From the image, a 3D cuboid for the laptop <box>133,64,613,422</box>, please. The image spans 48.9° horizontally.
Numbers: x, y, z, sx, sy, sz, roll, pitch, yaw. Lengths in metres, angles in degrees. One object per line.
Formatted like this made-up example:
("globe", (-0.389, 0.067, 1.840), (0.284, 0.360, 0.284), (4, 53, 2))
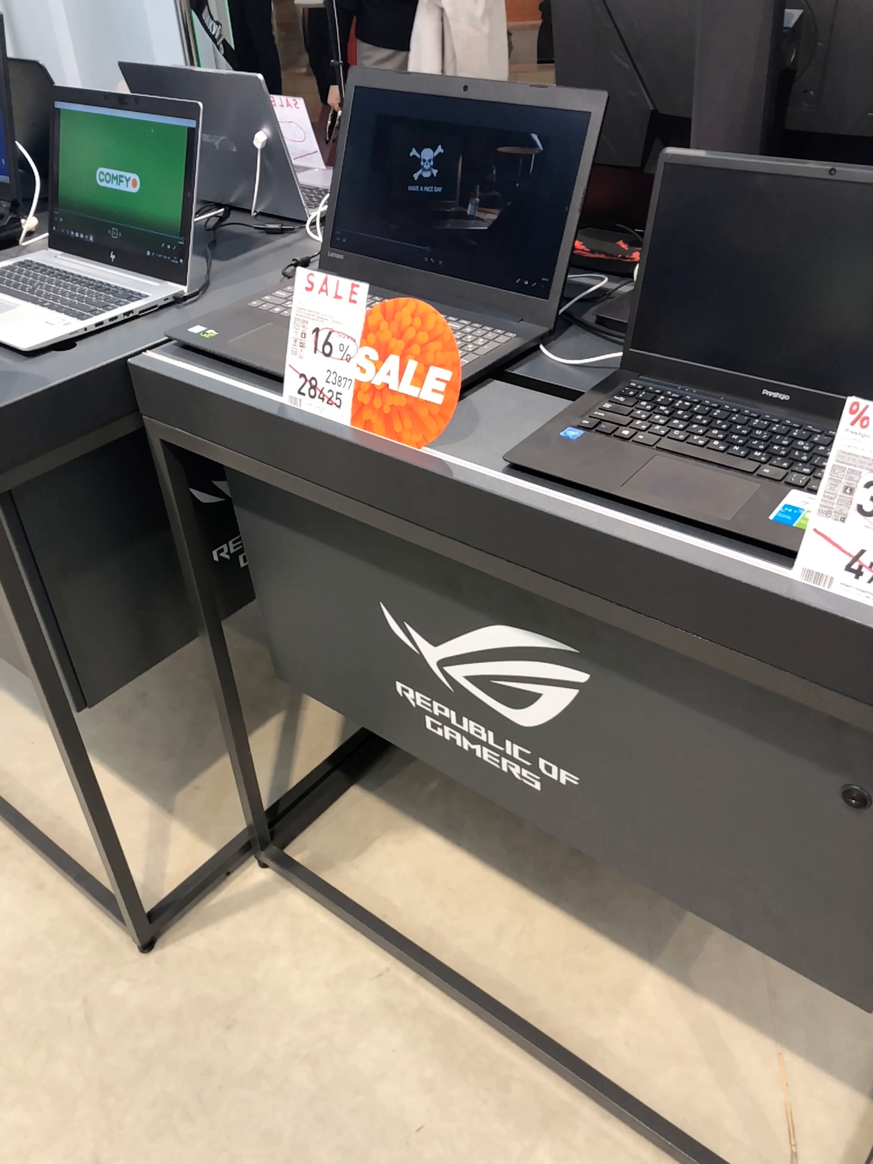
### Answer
("laptop", (-0.063, -0.406, 1.081), (0.383, 0.235, 0.335), (25, 46, 33))
